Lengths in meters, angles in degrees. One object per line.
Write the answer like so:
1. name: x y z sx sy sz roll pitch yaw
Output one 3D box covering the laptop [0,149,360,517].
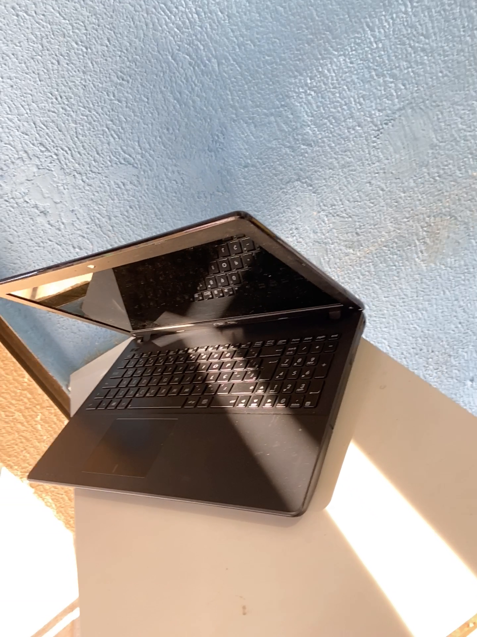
1. laptop: -0.103 0.019 0.522 0.373 0.190 0.239 -8 35 36
